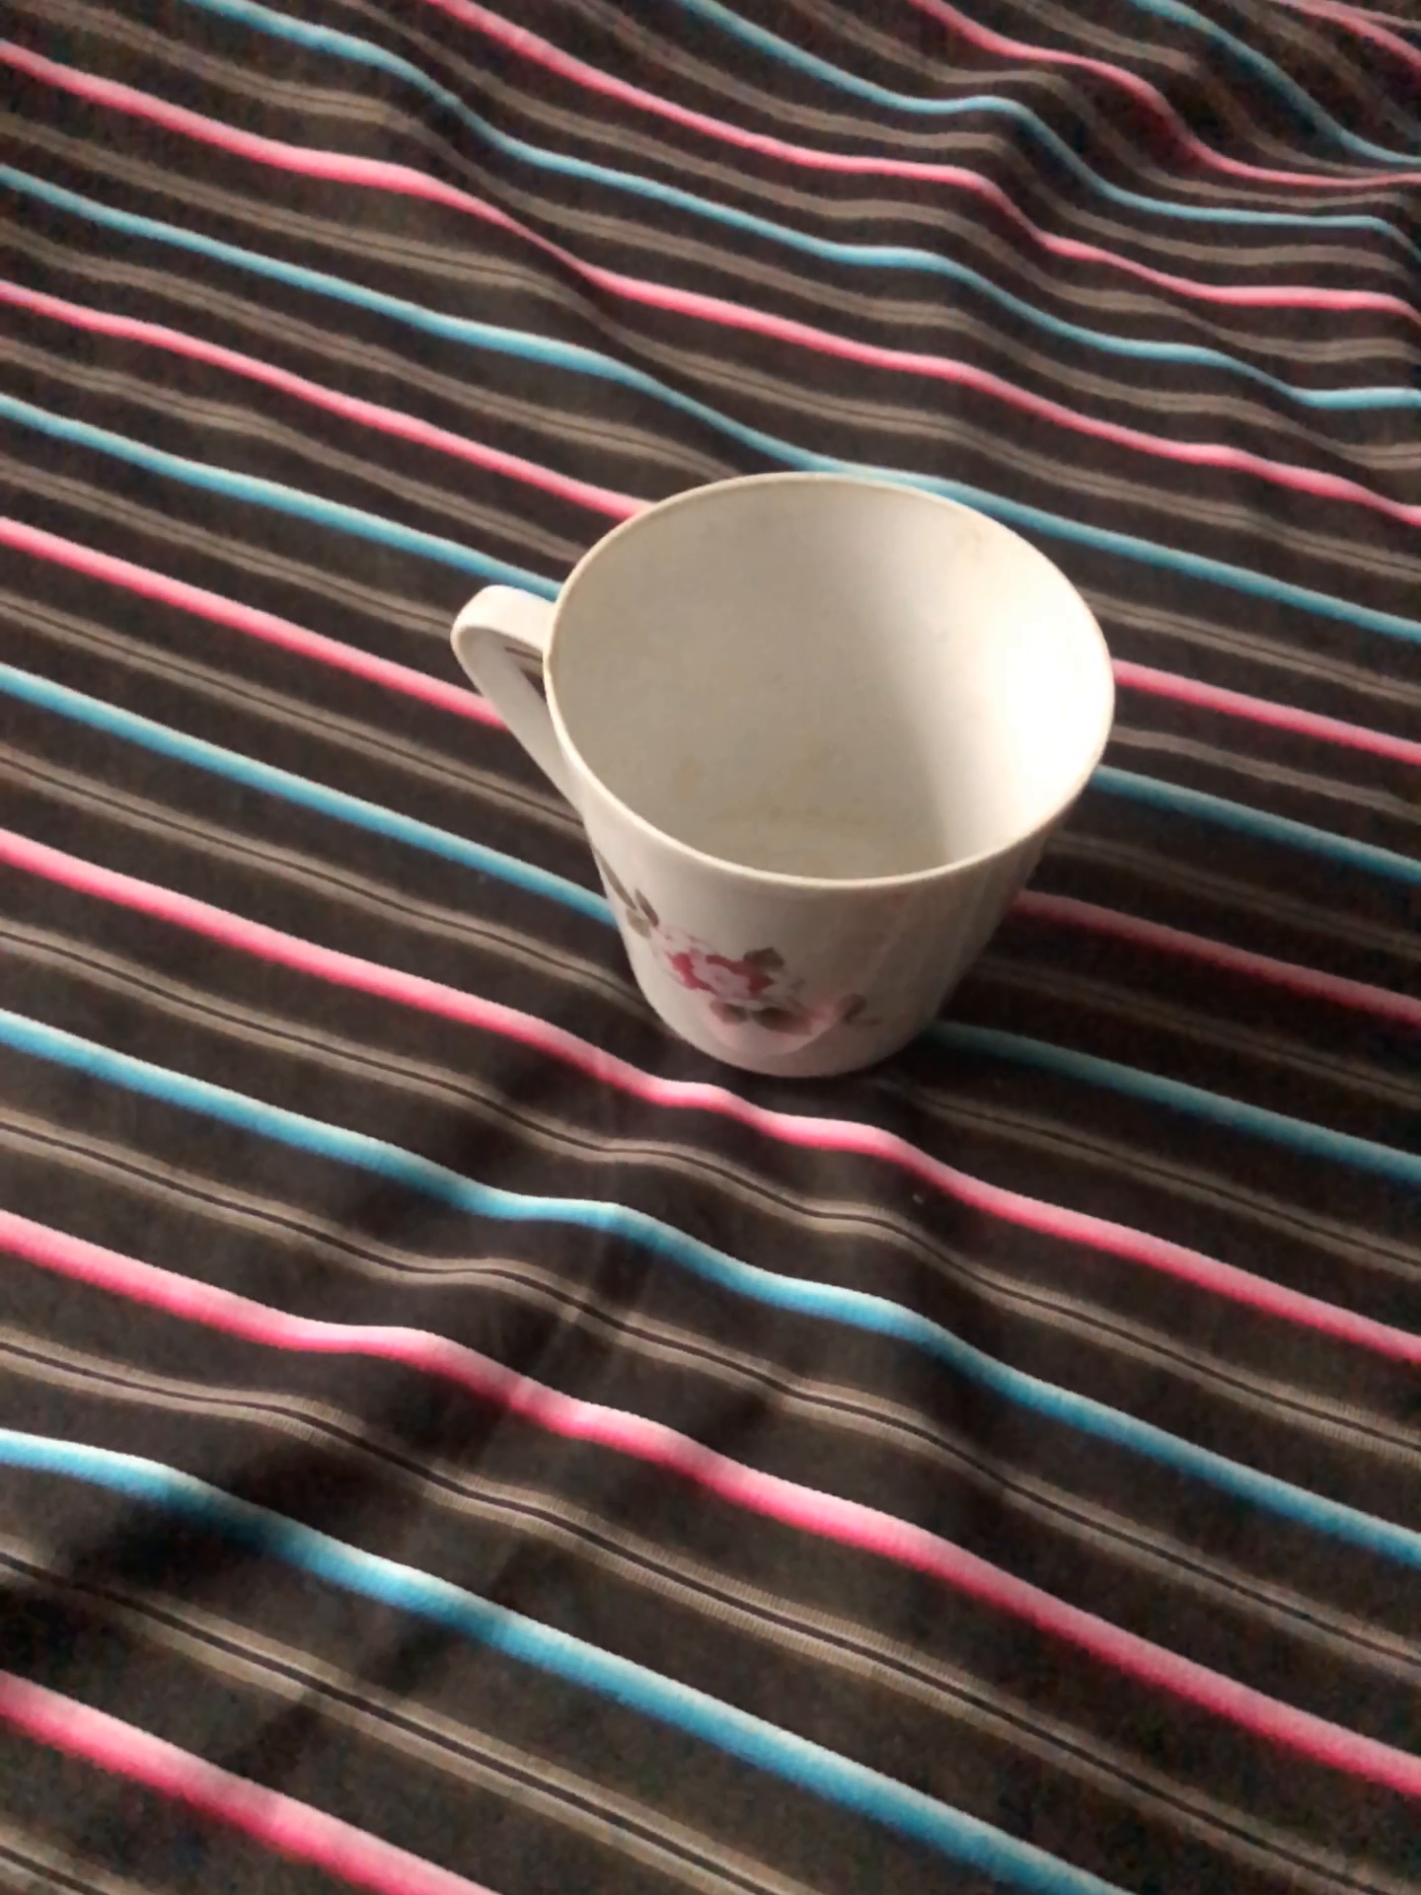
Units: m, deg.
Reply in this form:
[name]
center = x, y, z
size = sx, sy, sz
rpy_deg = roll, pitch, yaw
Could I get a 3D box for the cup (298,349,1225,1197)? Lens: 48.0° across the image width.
[cup]
center = 0.007, -0.027, 0.225
size = 0.094, 0.049, 0.073
rpy_deg = 30, 61, 17
